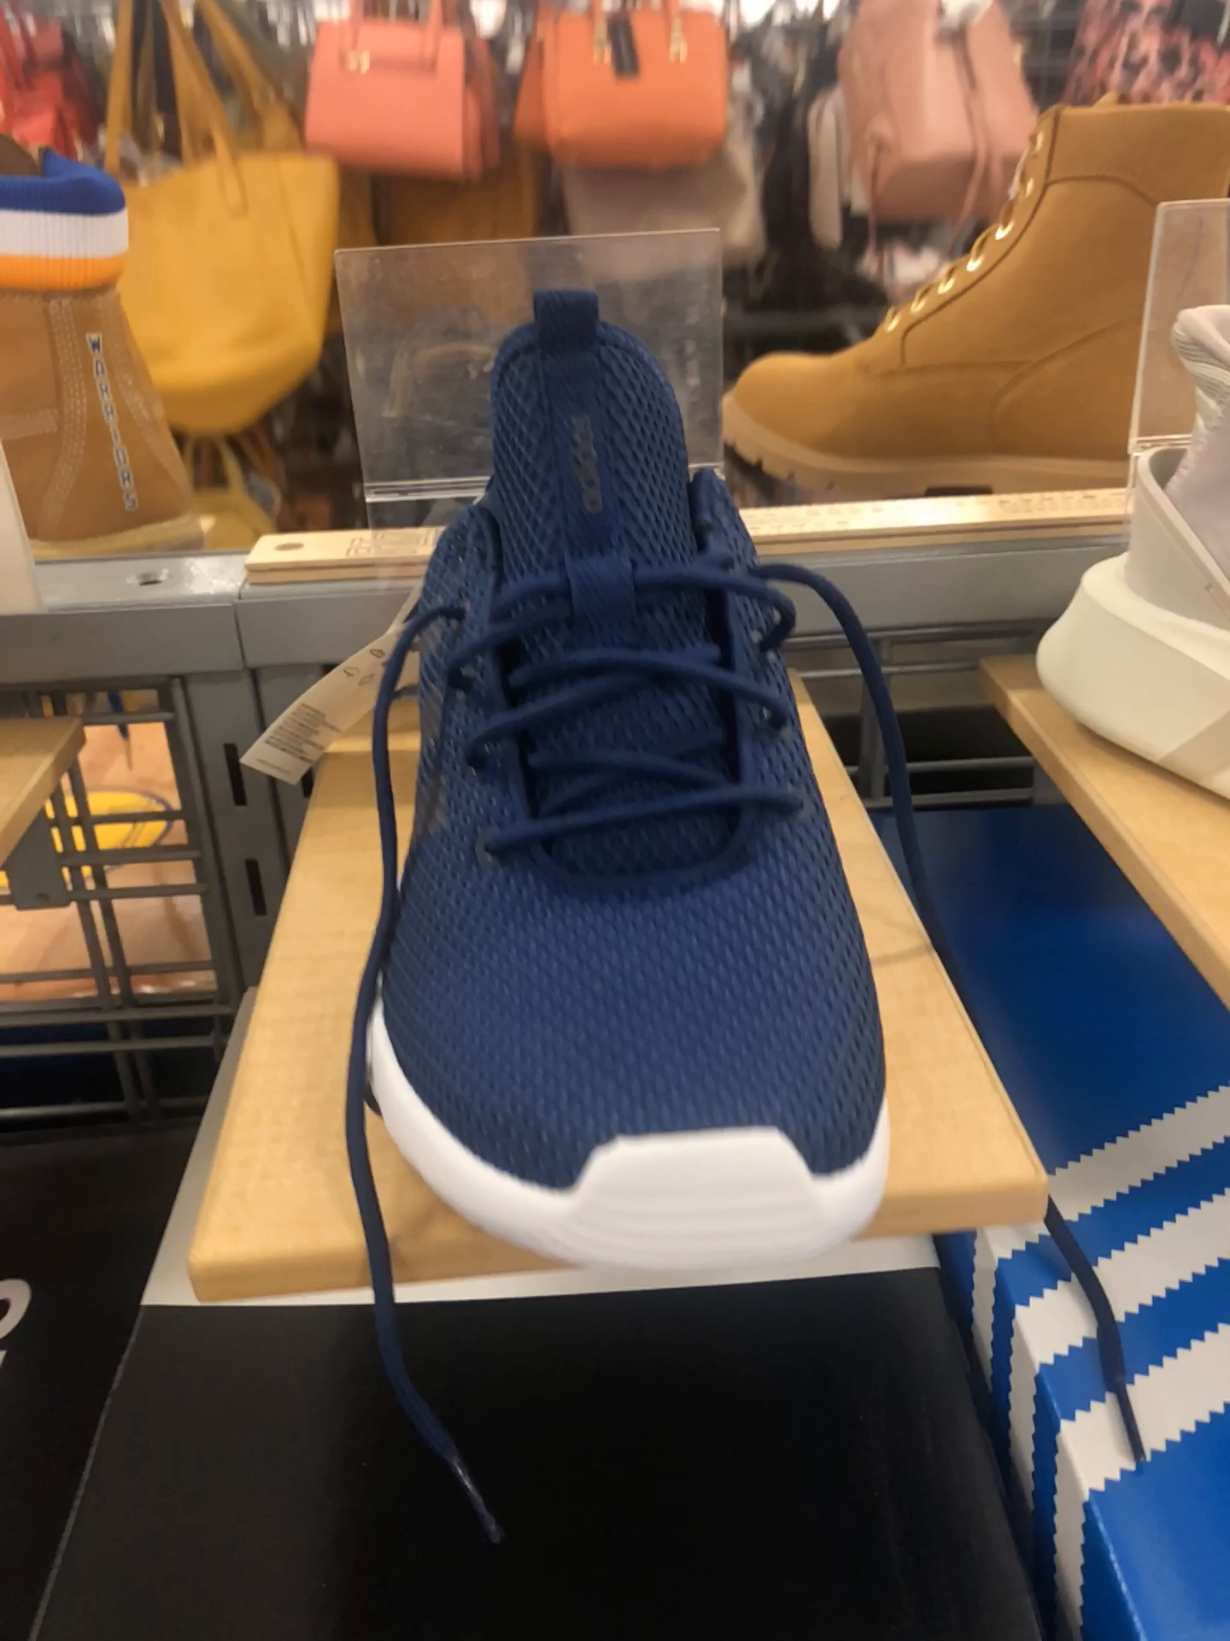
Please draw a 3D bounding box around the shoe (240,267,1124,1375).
[{"bbox_3d":[0.004,-0.042,0.341,0.112,0.145,0.306,-3,27,-2],"label":"shoe"}]
